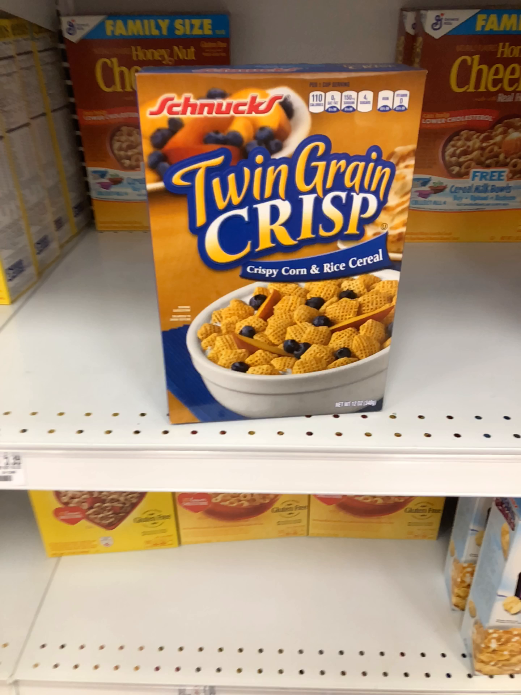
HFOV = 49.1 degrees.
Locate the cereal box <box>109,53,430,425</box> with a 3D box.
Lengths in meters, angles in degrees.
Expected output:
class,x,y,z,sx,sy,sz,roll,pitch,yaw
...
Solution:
class,x,y,z,sx,sy,sz,roll,pitch,yaw
cereal box,0.005,-0.079,0.474,0.210,0.289,0.070,-4,31,-6
